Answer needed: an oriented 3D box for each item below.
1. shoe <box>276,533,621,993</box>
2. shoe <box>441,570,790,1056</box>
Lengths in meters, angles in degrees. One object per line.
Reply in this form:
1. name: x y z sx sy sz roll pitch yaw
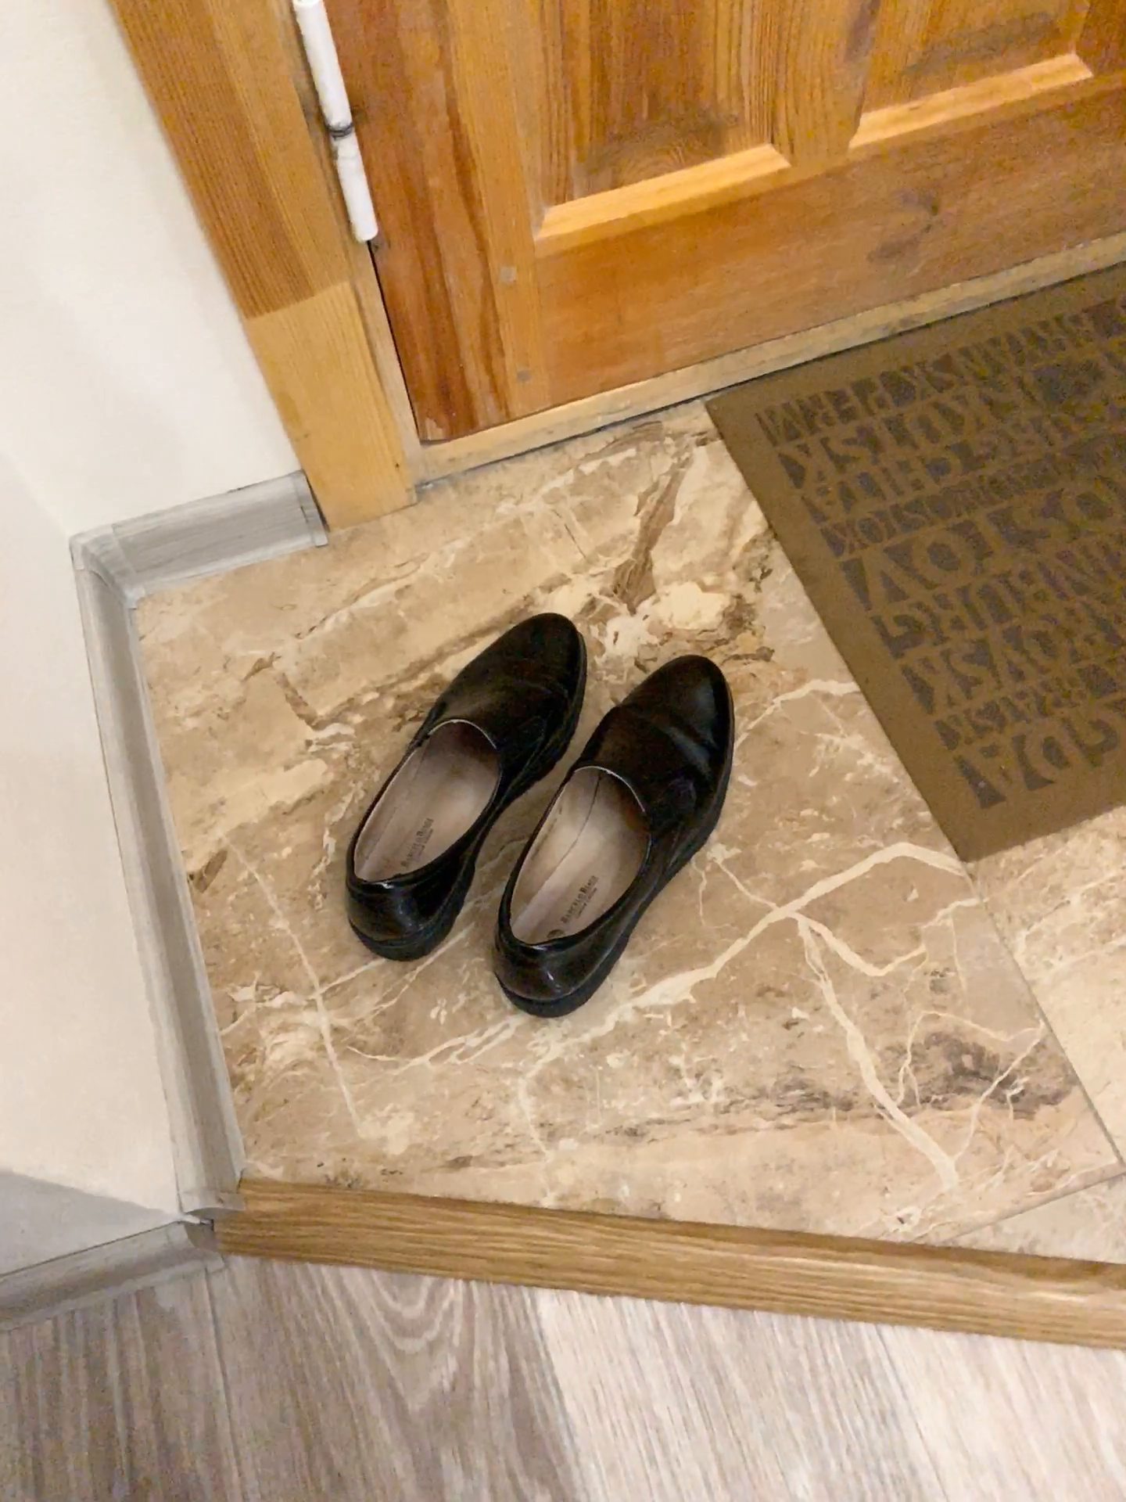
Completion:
1. shoe: -0.060 0.004 0.727 0.090 0.100 0.260 21 66 15
2. shoe: 0.039 0.033 0.691 0.090 0.100 0.260 23 67 16
